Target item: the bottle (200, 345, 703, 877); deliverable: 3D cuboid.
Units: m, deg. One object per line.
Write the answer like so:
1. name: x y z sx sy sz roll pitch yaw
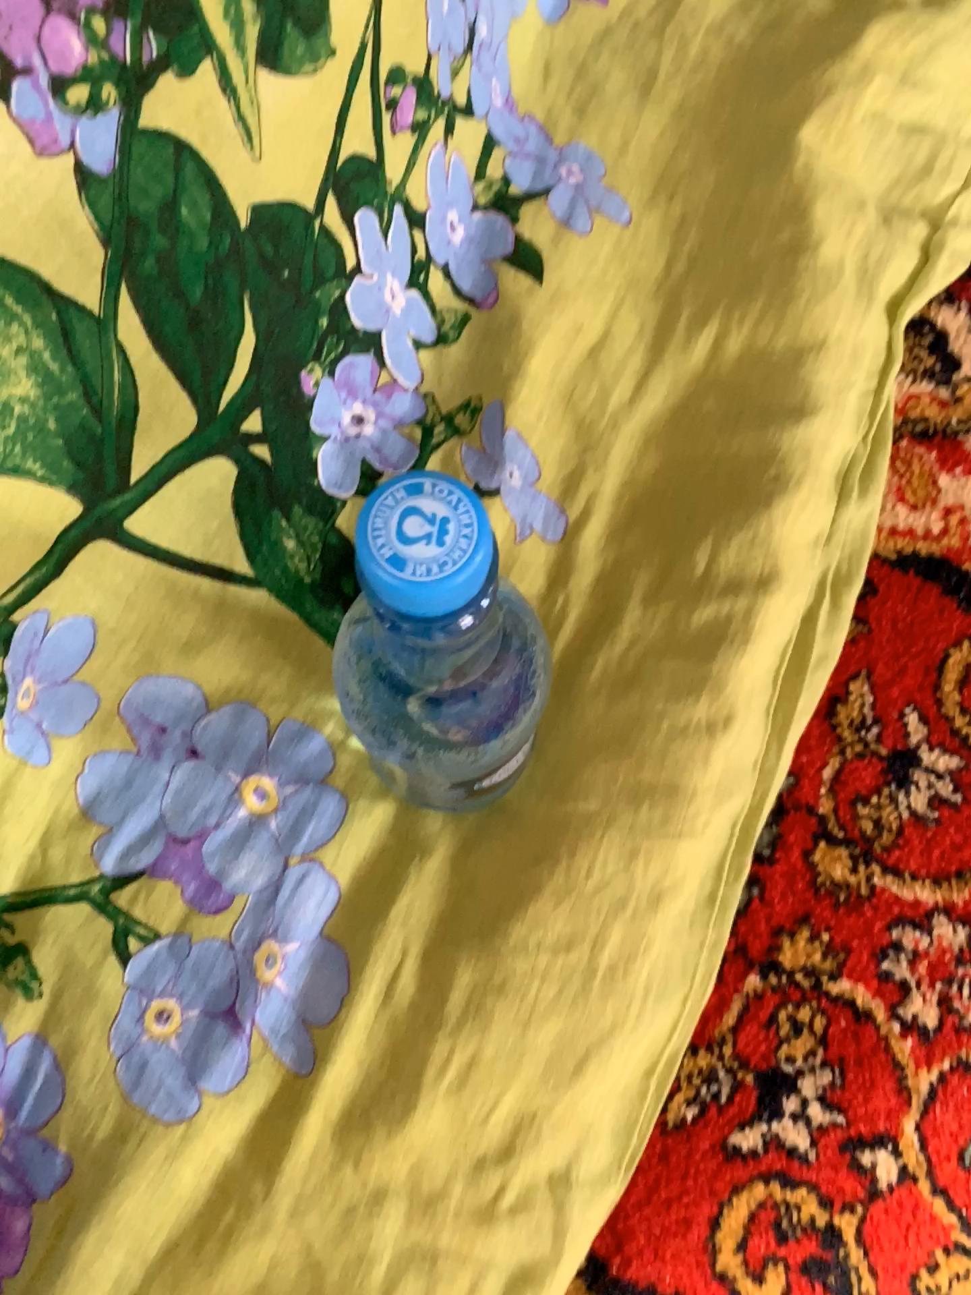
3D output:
1. bottle: -0.008 0.013 0.308 0.070 0.219 0.080 30 77 6
